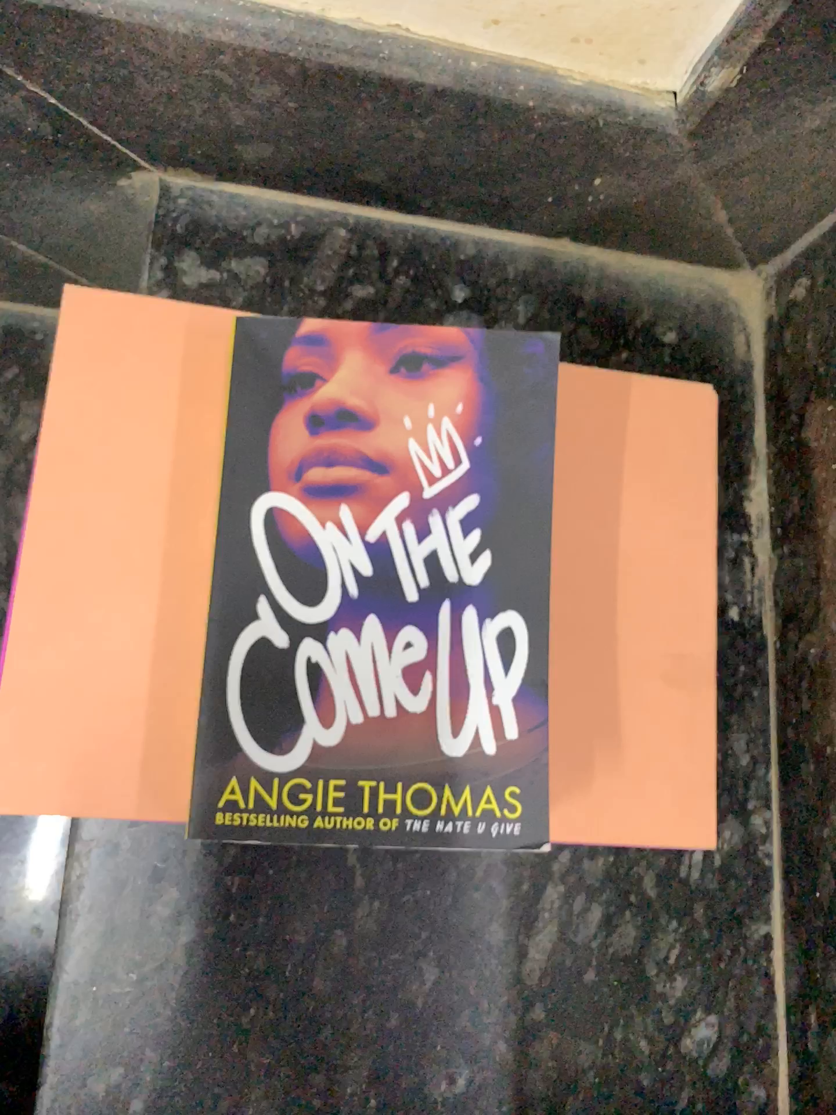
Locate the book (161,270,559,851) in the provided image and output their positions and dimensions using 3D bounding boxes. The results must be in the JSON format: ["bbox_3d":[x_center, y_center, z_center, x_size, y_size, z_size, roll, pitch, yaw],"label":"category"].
[{"bbox_3d":[-0.016,0.001,0.324,0.130,0.040,0.200,3,78,-7],"label":"book"}]
